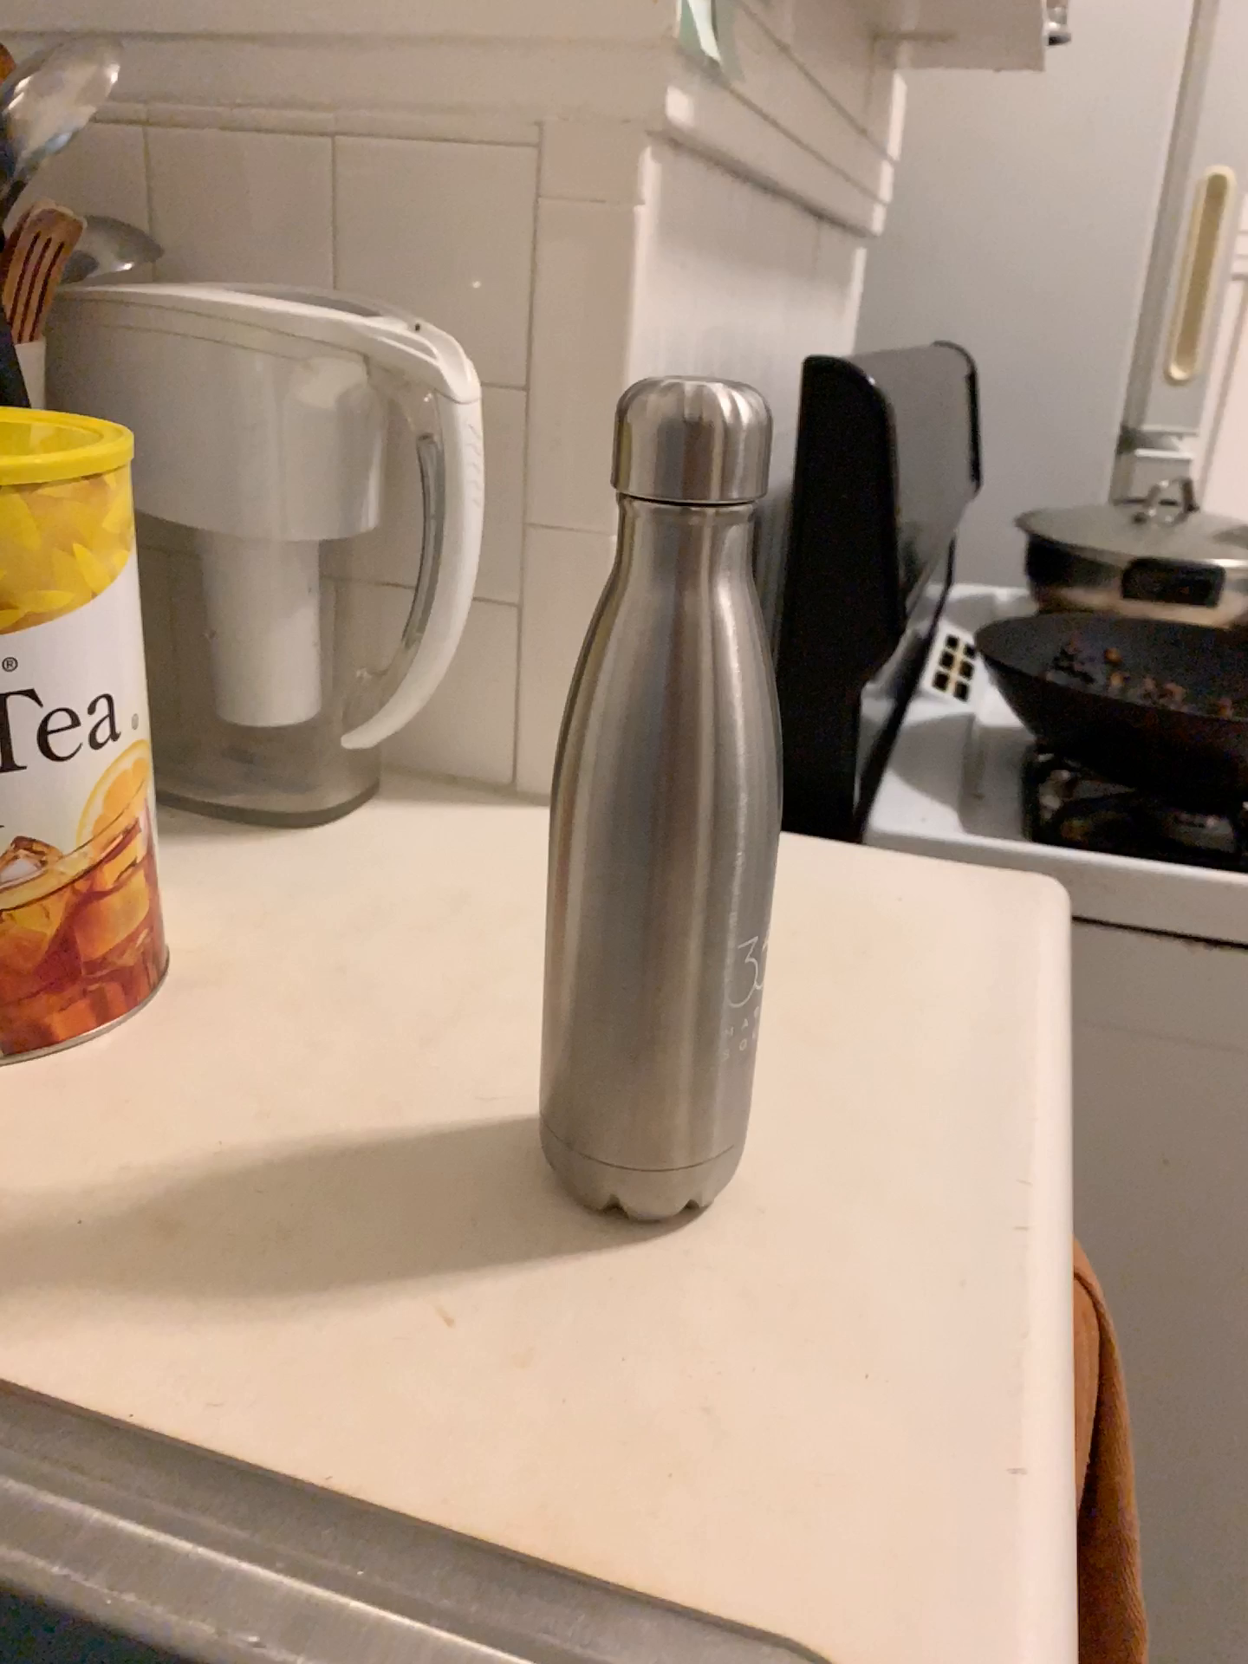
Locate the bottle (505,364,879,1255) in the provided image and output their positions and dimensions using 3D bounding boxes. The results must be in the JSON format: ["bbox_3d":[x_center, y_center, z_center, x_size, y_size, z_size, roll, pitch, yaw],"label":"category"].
[{"bbox_3d":[0.016,-0.005,0.389,0.070,0.249,0.070,4,23,-2],"label":"bottle"}]
